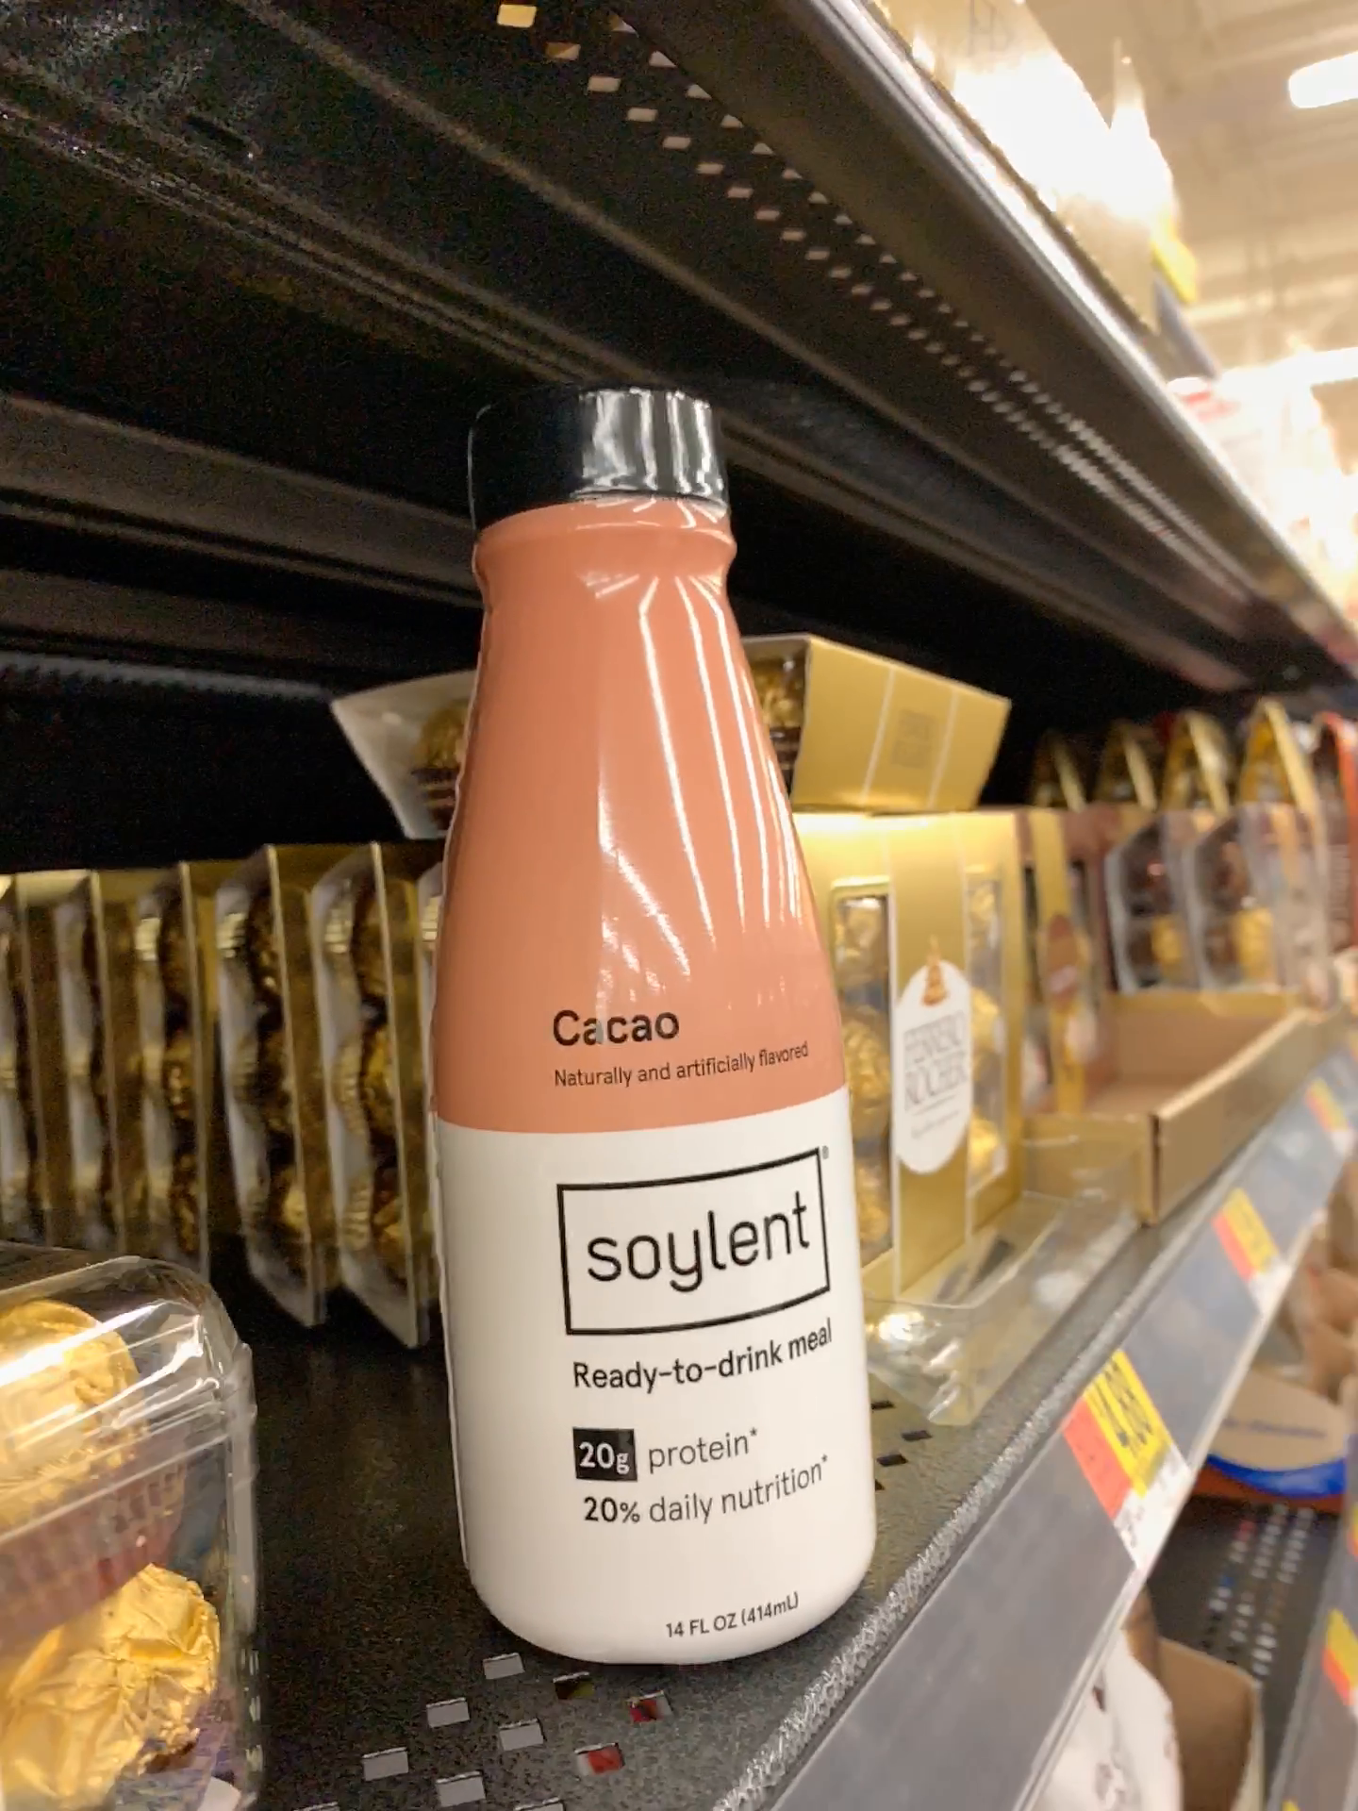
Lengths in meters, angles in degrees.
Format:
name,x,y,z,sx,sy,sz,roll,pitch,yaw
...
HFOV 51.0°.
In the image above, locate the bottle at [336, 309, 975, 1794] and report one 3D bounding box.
name,x,y,z,sx,sy,sz,roll,pitch,yaw
bottle,-0.008,0.017,0.224,0.080,0.190,0.070,-2,2,-12
